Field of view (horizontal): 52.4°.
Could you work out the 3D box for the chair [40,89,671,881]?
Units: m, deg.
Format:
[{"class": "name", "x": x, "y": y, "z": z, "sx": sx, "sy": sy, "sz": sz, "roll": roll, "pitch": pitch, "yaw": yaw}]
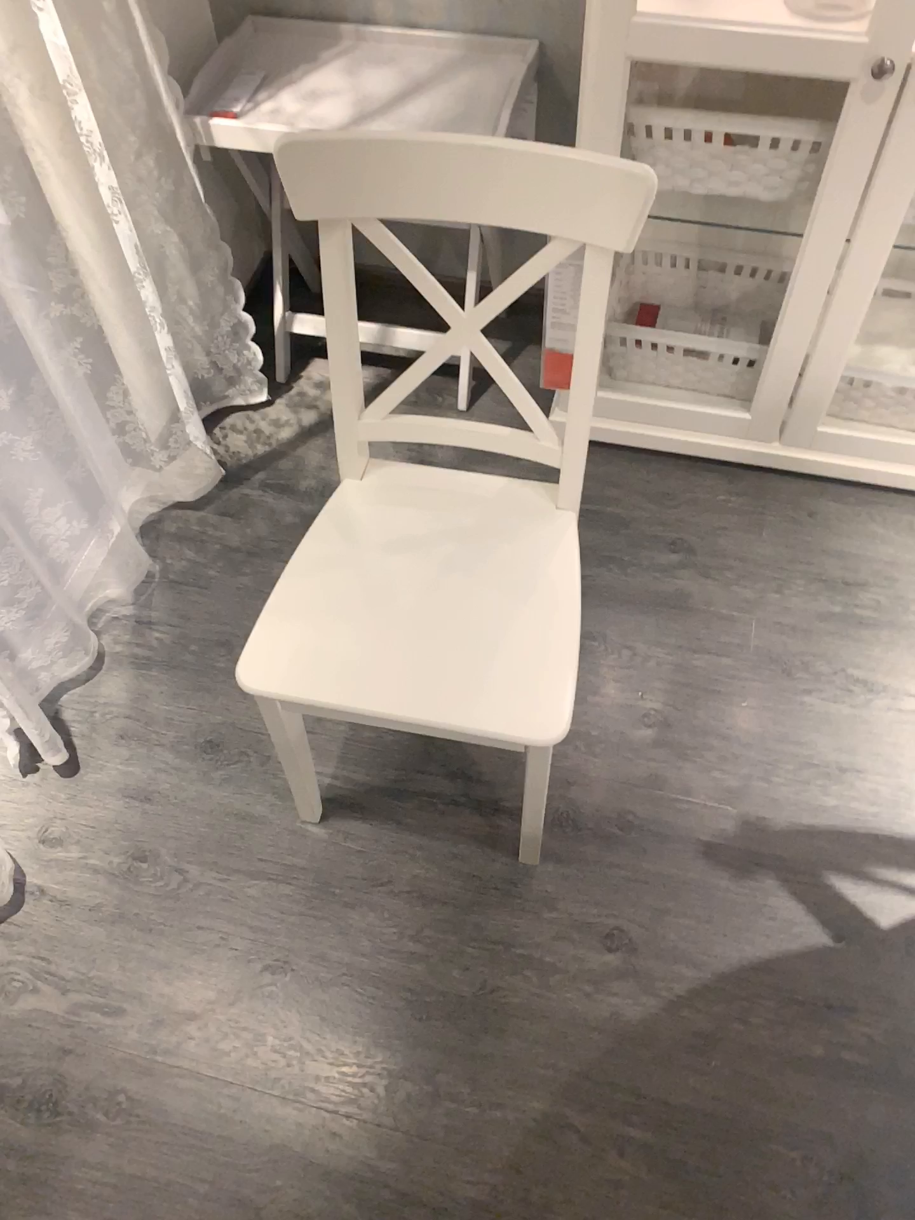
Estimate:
[{"class": "chair", "x": -0.039, "y": -0.078, "z": 1.173, "sx": 0.440, "sy": 0.858, "sz": 0.491, "roll": 9, "pitch": 57, "yaw": 9}]
